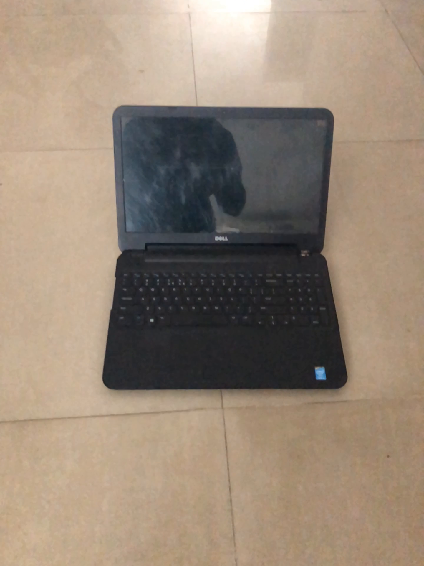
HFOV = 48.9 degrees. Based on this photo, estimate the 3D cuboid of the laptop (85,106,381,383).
[{"bbox_3d":[0.020,-0.074,0.728,0.343,0.178,0.407,0,55,-1],"label":"laptop"}]
